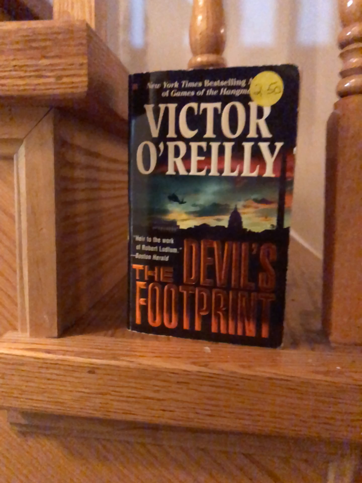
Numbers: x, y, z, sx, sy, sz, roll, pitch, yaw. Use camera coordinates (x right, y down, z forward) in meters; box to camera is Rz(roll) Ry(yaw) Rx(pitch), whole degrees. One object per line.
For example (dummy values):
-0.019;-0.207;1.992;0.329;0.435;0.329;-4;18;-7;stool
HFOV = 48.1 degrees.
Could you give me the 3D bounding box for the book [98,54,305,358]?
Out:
0.015;-0.022;0.268;0.120;0.170;0.050;3;10;18;book
